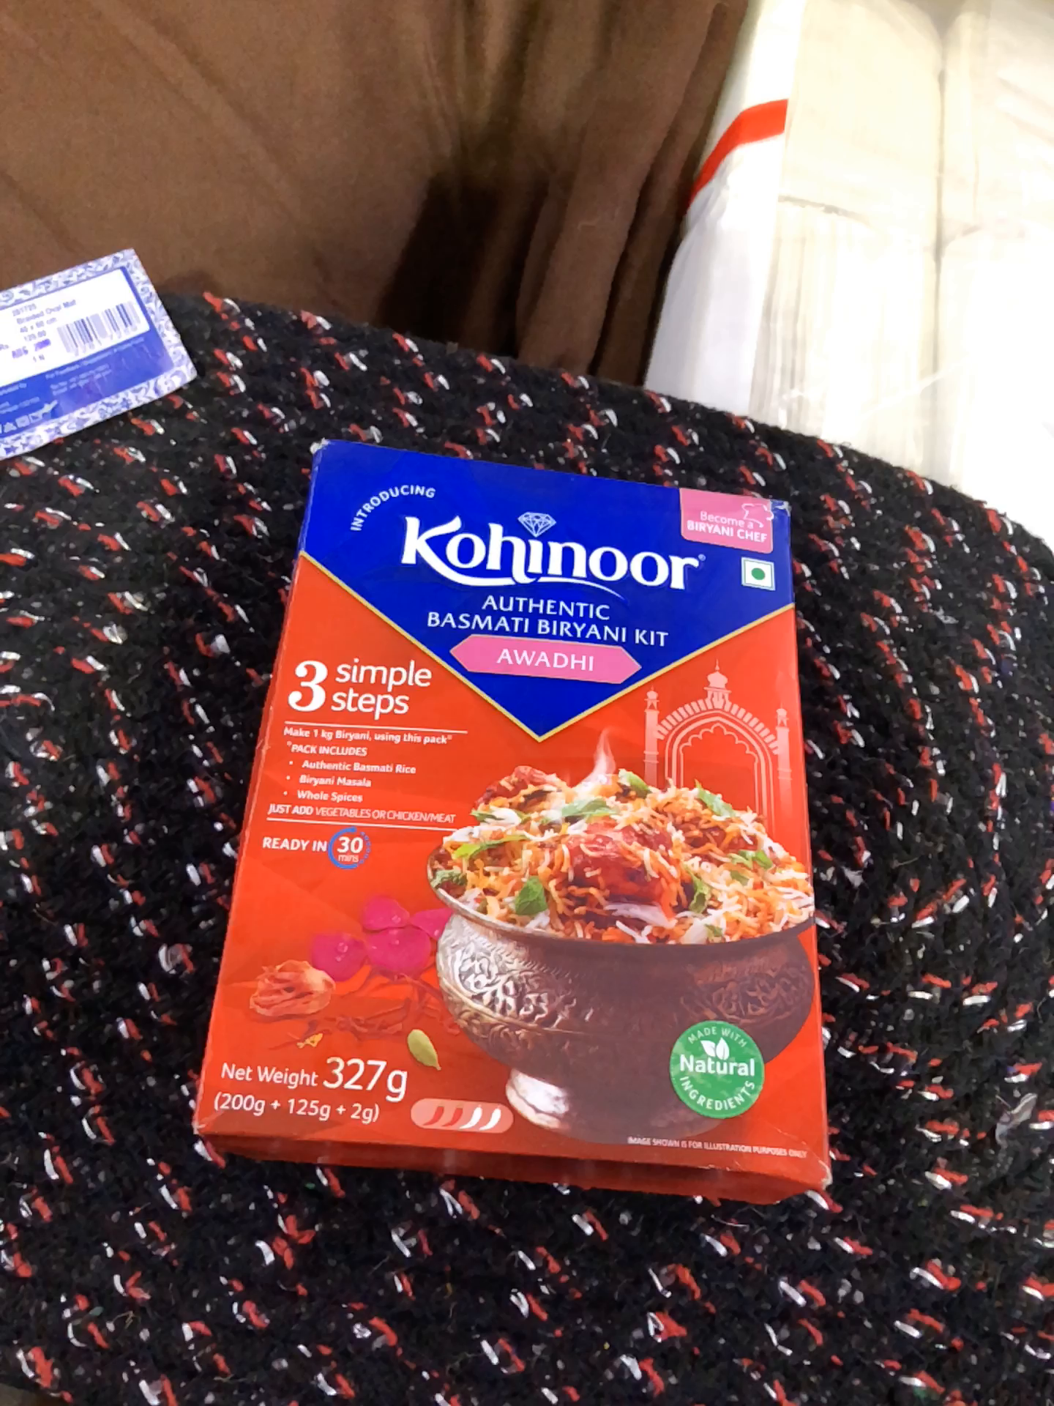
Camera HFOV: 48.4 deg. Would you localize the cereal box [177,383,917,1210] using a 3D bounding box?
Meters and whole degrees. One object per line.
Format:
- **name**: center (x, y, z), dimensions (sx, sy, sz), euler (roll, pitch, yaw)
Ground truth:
- **cereal box**: center (0.010, 0.015, 0.278), dimensions (0.140, 0.040, 0.181), euler (5, 65, -1)
